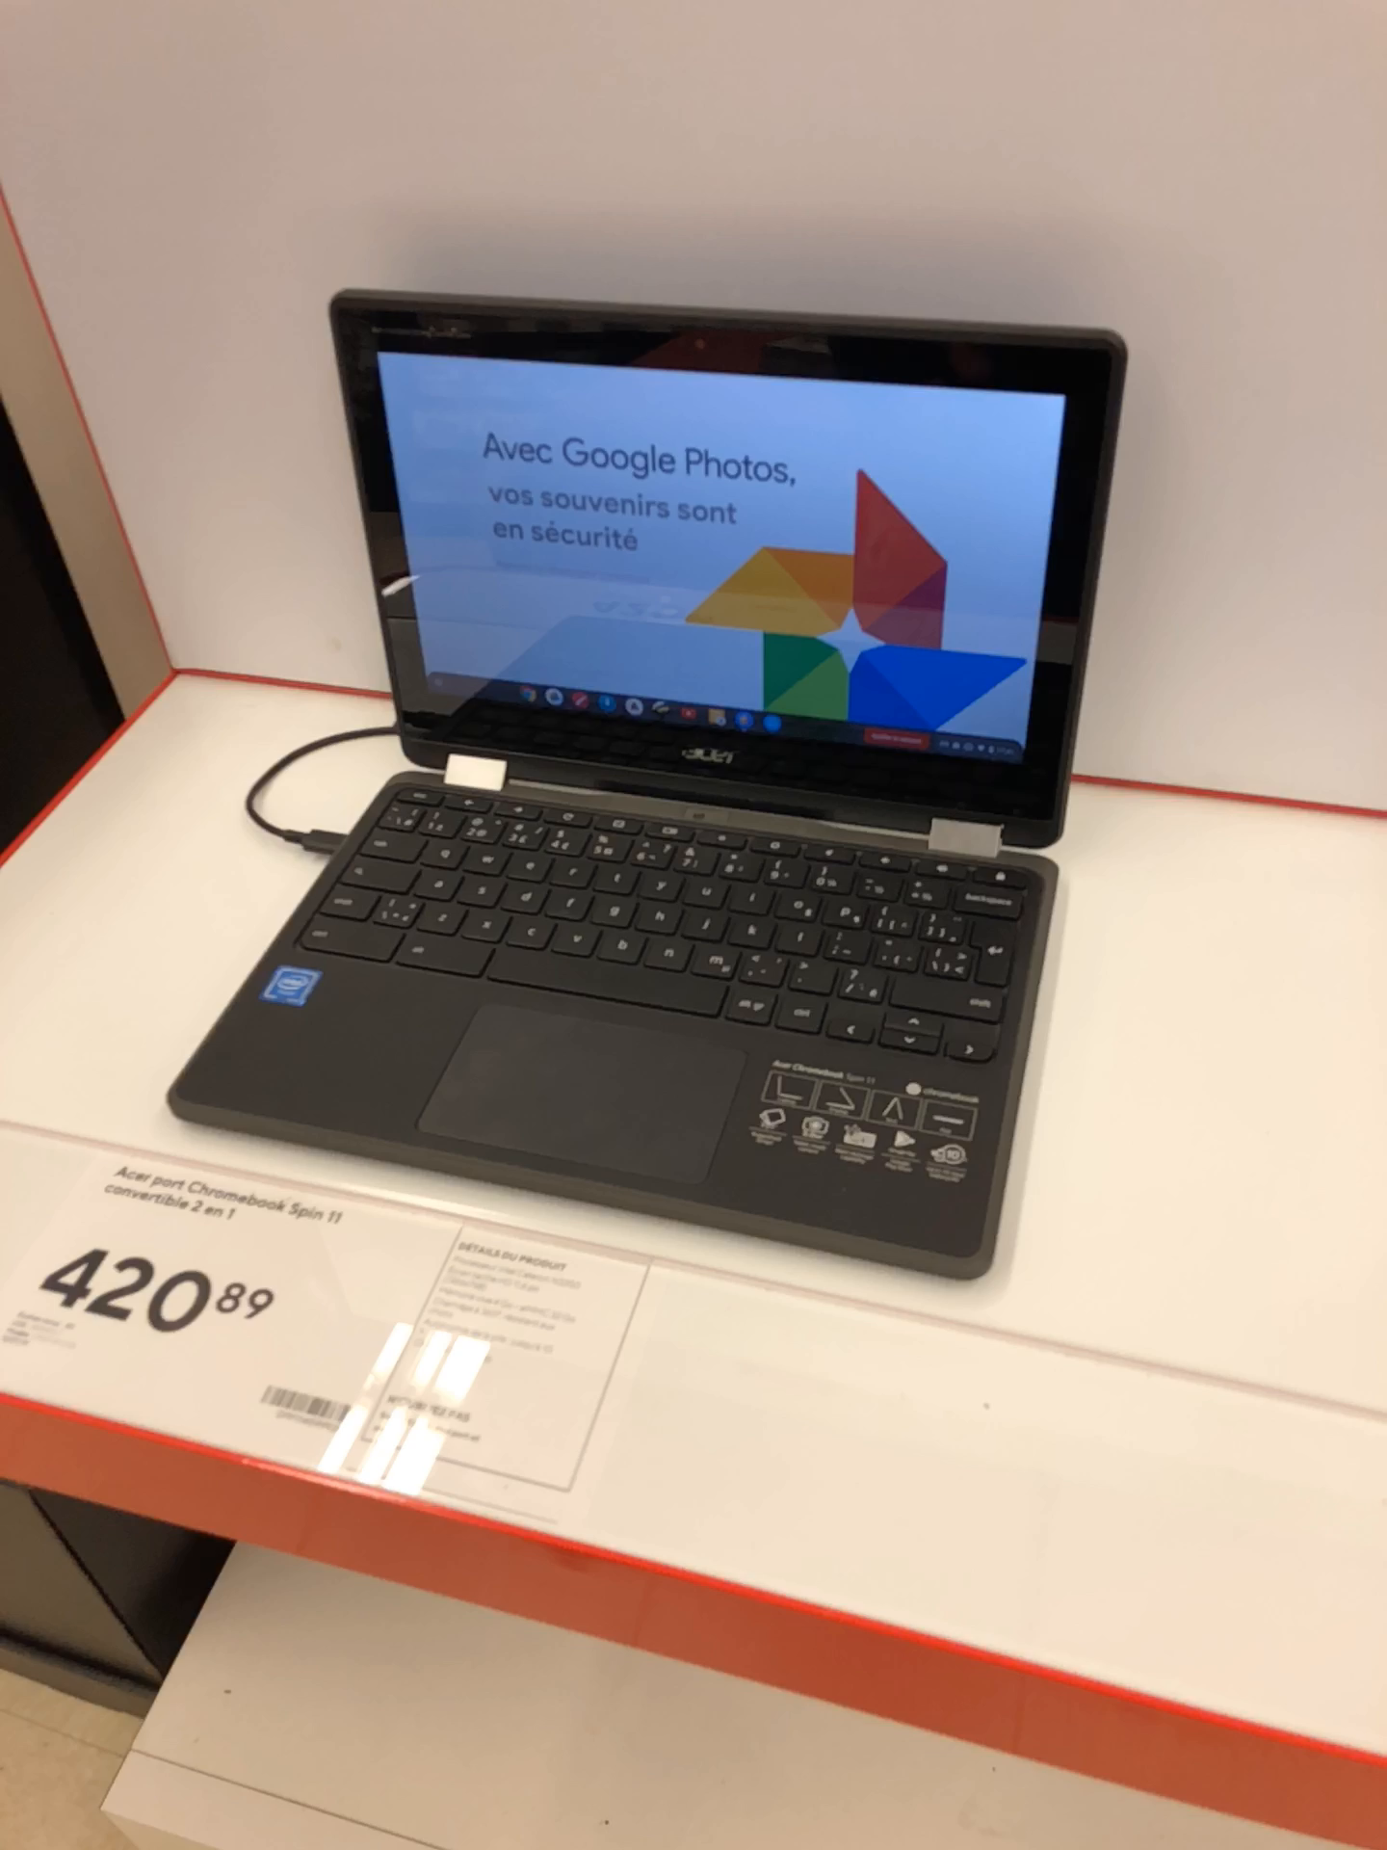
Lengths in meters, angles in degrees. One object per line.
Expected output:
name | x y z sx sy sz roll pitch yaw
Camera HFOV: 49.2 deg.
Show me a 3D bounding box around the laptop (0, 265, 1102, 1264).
laptop | -0.024 -0.074 0.537 0.289 0.198 0.253 8 46 14
